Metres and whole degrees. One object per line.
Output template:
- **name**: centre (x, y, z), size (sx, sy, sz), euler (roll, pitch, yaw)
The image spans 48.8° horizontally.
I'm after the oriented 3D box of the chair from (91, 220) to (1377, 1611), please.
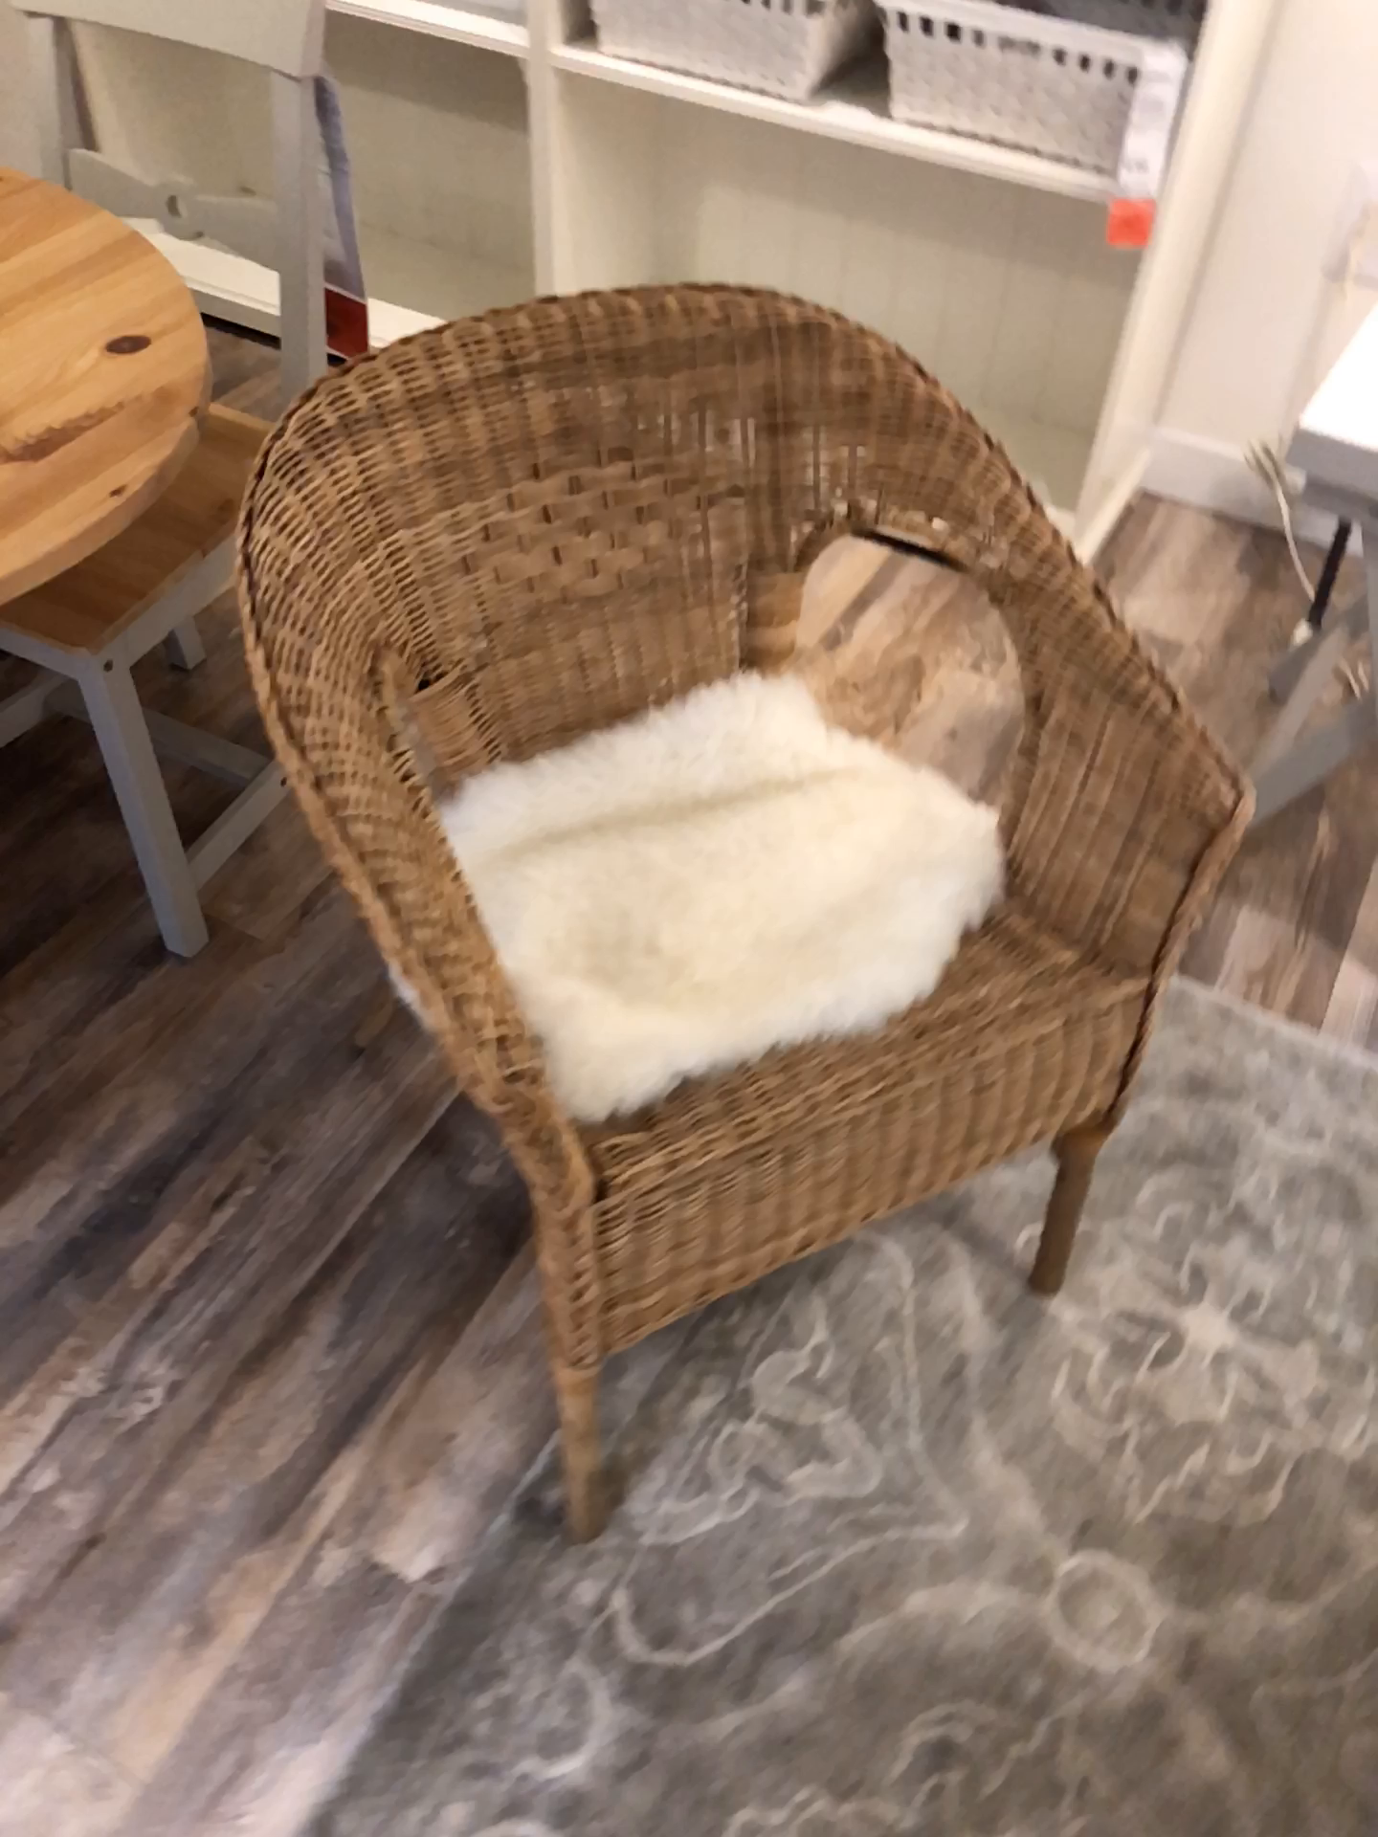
- **chair**: centre (0.014, -0.021, 1.211), size (0.651, 0.718, 0.632), euler (-19, 50, -20)
